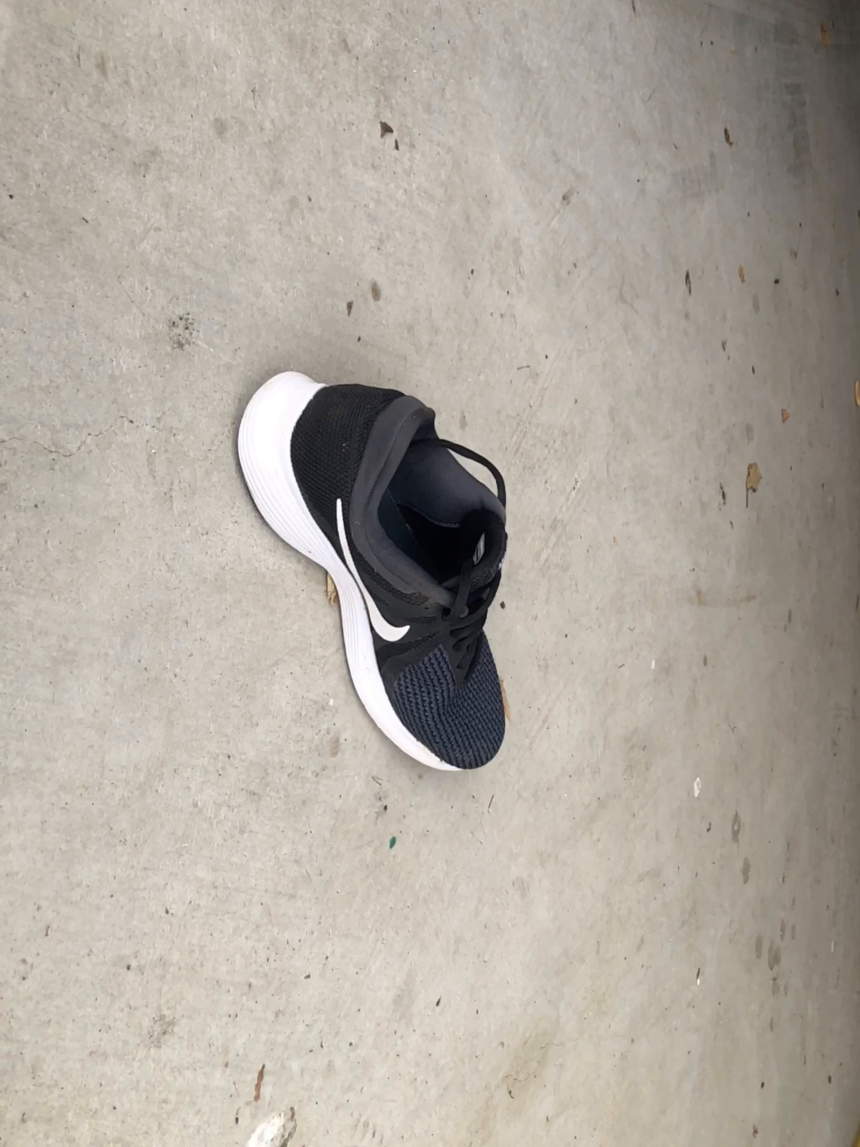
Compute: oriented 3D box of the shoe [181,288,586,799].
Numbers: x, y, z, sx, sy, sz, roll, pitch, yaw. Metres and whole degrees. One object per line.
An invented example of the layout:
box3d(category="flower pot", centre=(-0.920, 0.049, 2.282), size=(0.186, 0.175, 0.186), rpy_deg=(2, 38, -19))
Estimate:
box3d(category="shoe", centre=(-0.009, -0.007, 0.594), size=(0.131, 0.099, 0.291), rpy_deg=(-59, 135, -40))
